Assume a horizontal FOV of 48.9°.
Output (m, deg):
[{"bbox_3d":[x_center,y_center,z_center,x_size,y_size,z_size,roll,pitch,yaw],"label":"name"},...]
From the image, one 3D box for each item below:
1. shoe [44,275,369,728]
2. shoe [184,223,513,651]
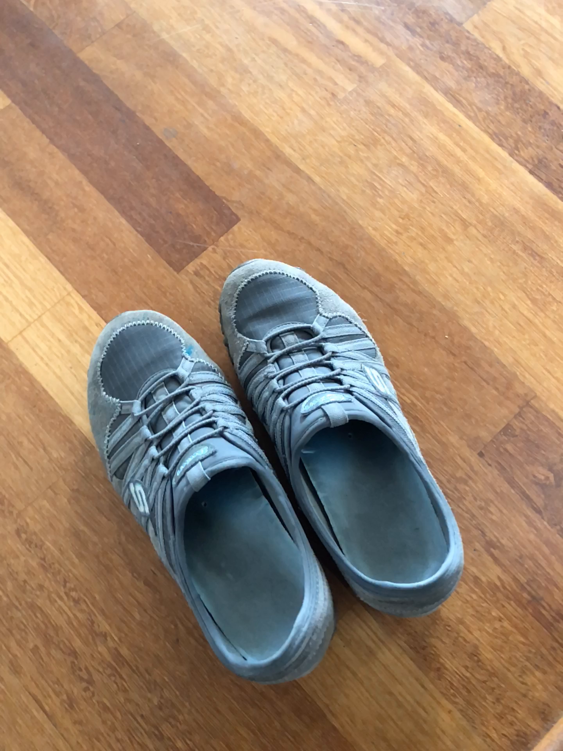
[{"bbox_3d":[-0.052,0.077,0.427,0.096,0.106,0.253,-27,78,-7],"label":"shoe"},{"bbox_3d":[0.035,0.039,0.433,0.093,0.106,0.250,-27,78,-7],"label":"shoe"}]
